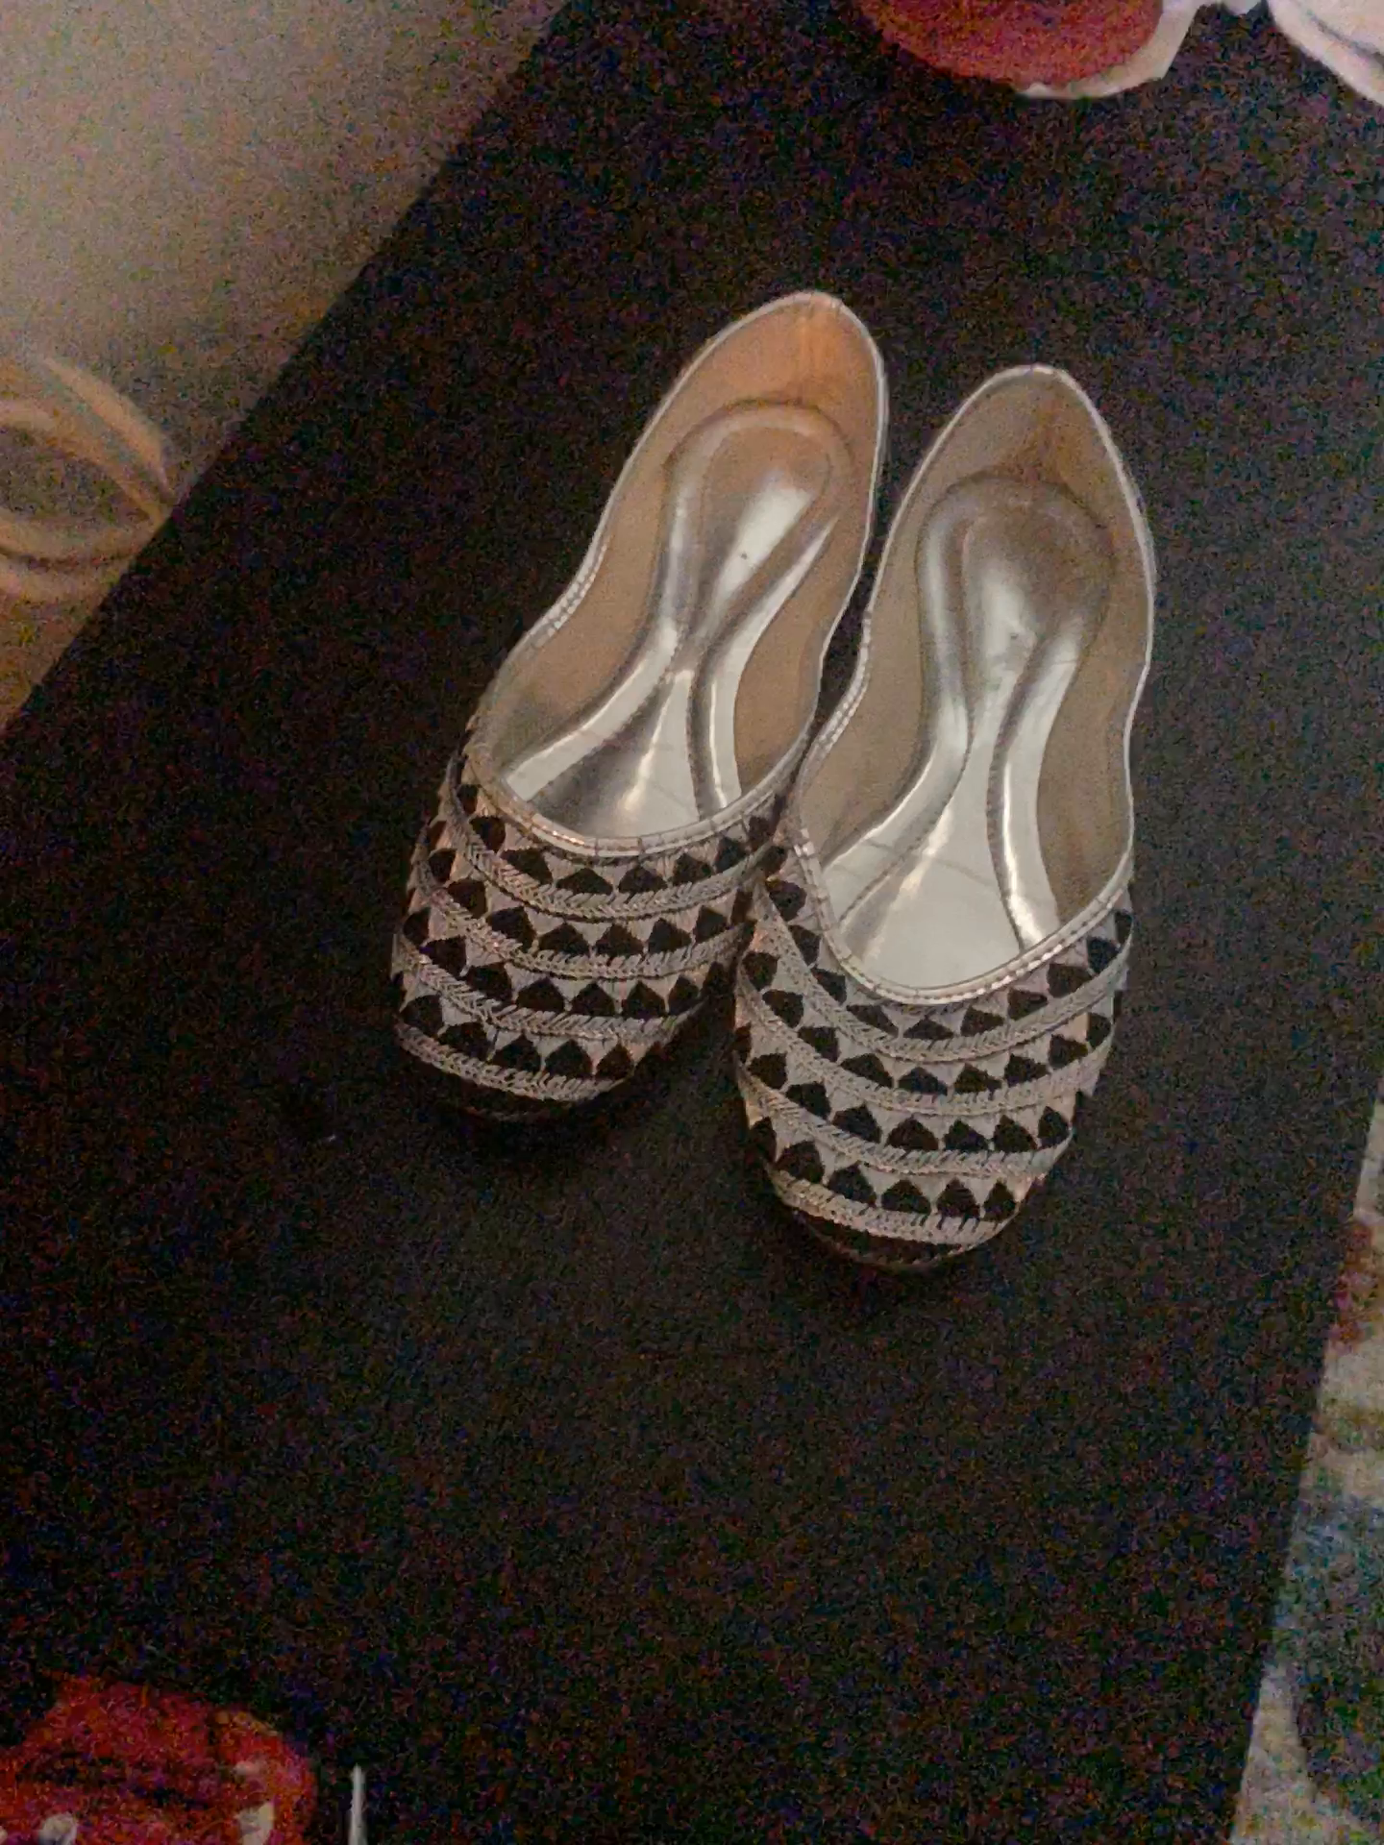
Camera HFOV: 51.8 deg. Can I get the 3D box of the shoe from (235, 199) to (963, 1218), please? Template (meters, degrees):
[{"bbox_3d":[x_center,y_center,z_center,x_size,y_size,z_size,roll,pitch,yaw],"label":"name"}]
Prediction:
[{"bbox_3d":[-0.010,-0.071,0.386,0.095,0.070,0.271,16,63,8],"label":"shoe"}]

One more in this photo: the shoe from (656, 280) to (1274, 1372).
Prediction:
[{"bbox_3d":[0.076,-0.039,0.367,0.095,0.070,0.271,15,63,7],"label":"shoe"}]
